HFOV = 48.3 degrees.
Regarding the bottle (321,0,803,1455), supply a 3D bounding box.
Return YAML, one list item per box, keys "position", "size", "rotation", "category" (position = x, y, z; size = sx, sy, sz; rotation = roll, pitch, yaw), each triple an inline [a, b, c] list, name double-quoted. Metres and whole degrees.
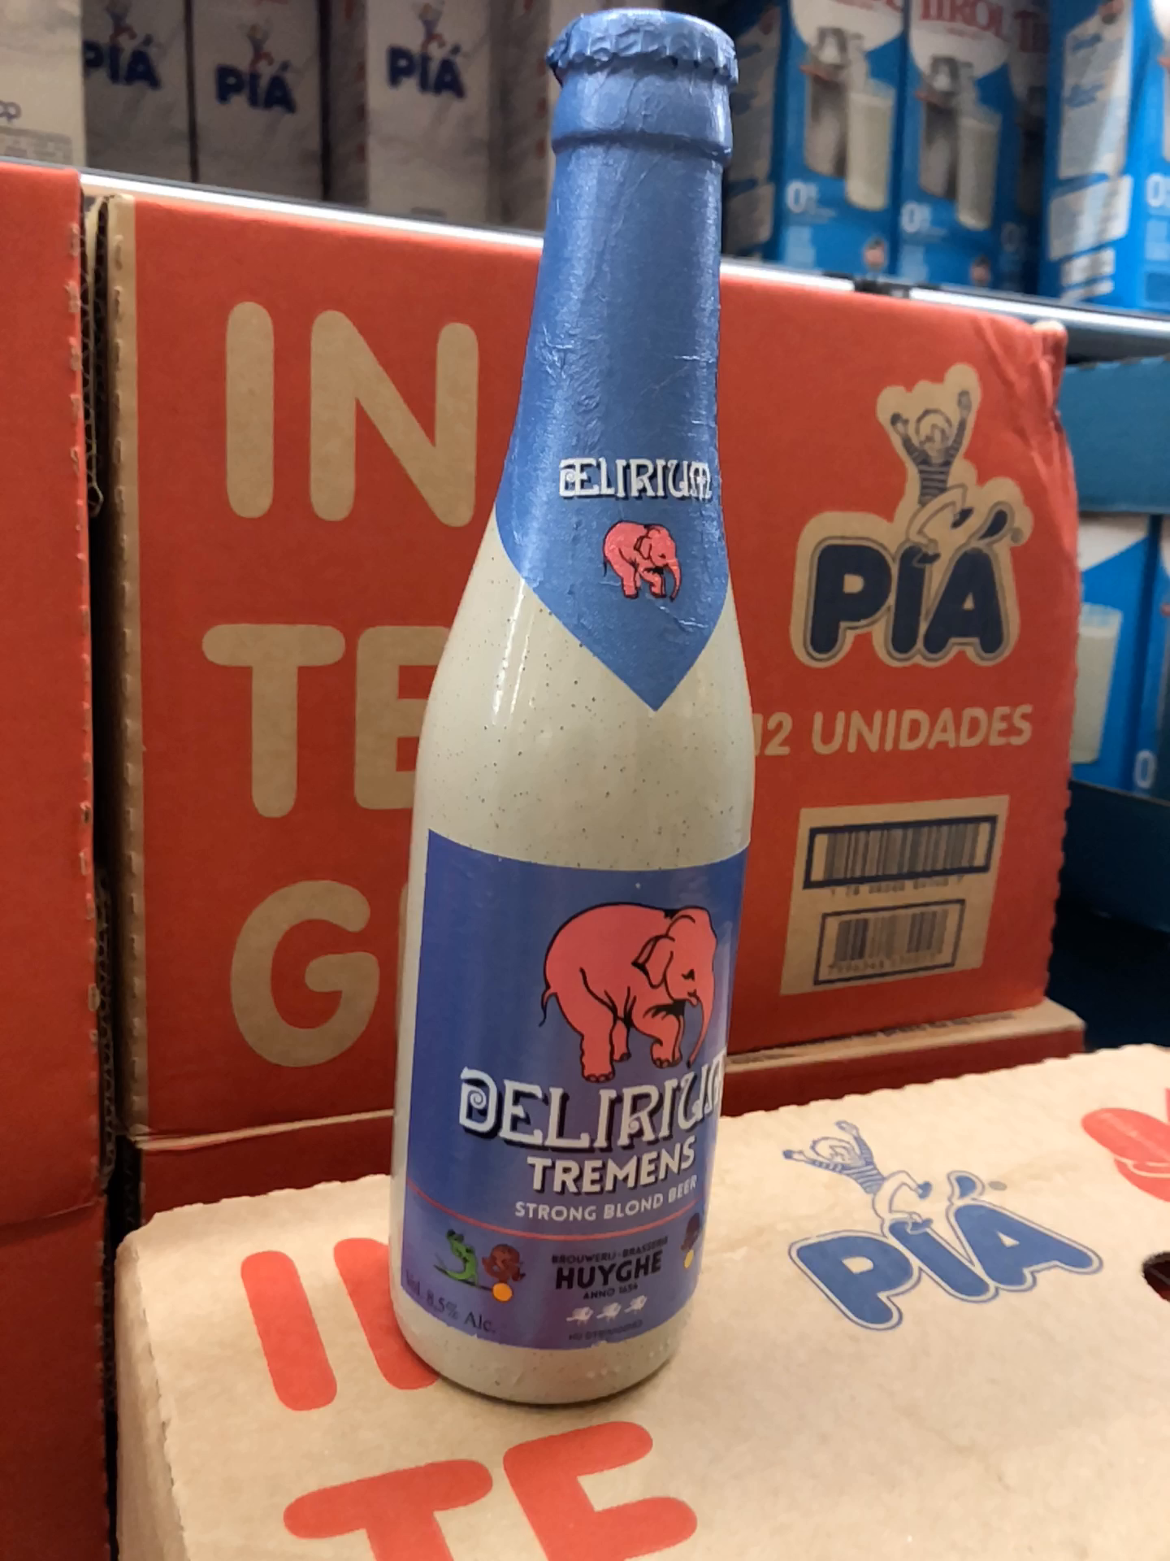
- position: [-0.010, -0.007, 0.228]
  size: [0.060, 0.219, 0.060]
  rotation: [2, 10, 0]
  category: "bottle"
